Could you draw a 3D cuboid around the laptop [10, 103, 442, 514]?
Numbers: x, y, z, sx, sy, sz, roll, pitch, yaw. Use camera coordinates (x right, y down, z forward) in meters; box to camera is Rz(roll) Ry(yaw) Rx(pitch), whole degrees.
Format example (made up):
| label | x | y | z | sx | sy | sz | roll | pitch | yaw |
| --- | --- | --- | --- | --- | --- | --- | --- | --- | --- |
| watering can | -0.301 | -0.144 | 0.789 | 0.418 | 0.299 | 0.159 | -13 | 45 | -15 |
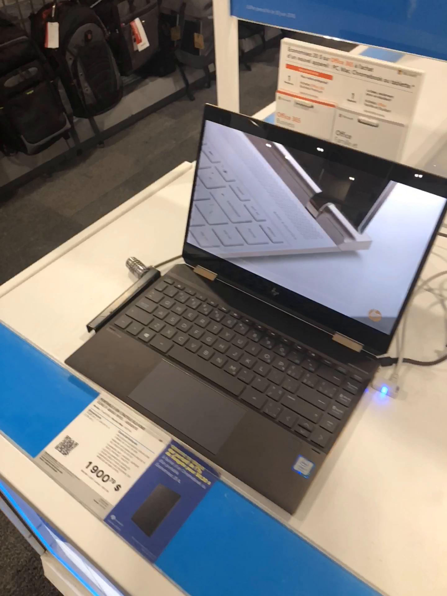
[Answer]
| label | x | y | z | sx | sy | sz | roll | pitch | yaw |
| --- | --- | --- | --- | --- | --- | --- | --- | --- | --- |
| laptop | 0.016 | -0.020 | 0.525 | 0.298 | 0.197 | 0.285 | 27 | 51 | 24 |
